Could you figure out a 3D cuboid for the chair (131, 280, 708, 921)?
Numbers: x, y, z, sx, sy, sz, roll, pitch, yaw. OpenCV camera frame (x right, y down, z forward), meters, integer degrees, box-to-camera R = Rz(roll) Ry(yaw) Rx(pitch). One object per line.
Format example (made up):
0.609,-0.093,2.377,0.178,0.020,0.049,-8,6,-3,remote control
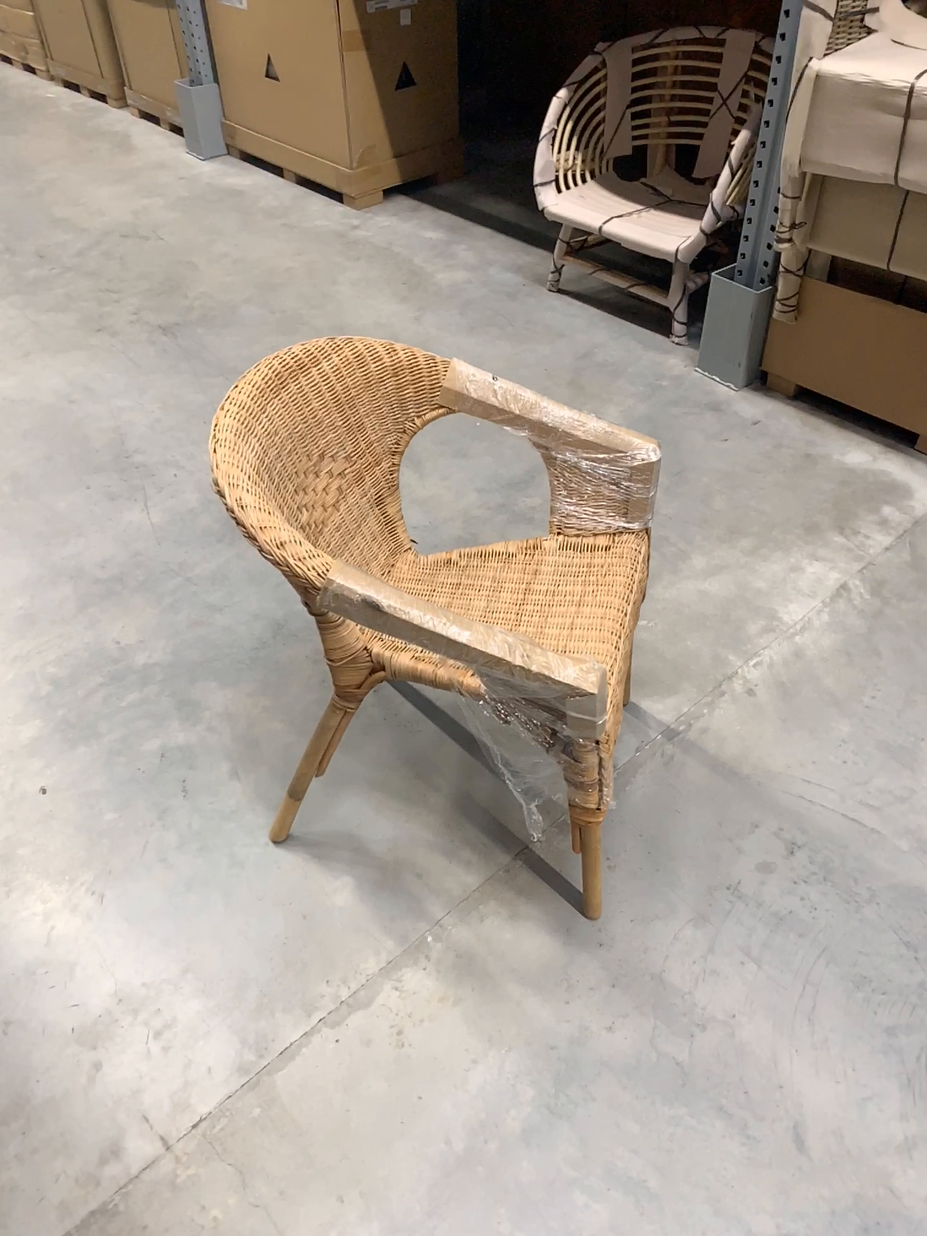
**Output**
-0.009,-0.038,1.560,0.650,0.757,0.602,10,43,12,chair
